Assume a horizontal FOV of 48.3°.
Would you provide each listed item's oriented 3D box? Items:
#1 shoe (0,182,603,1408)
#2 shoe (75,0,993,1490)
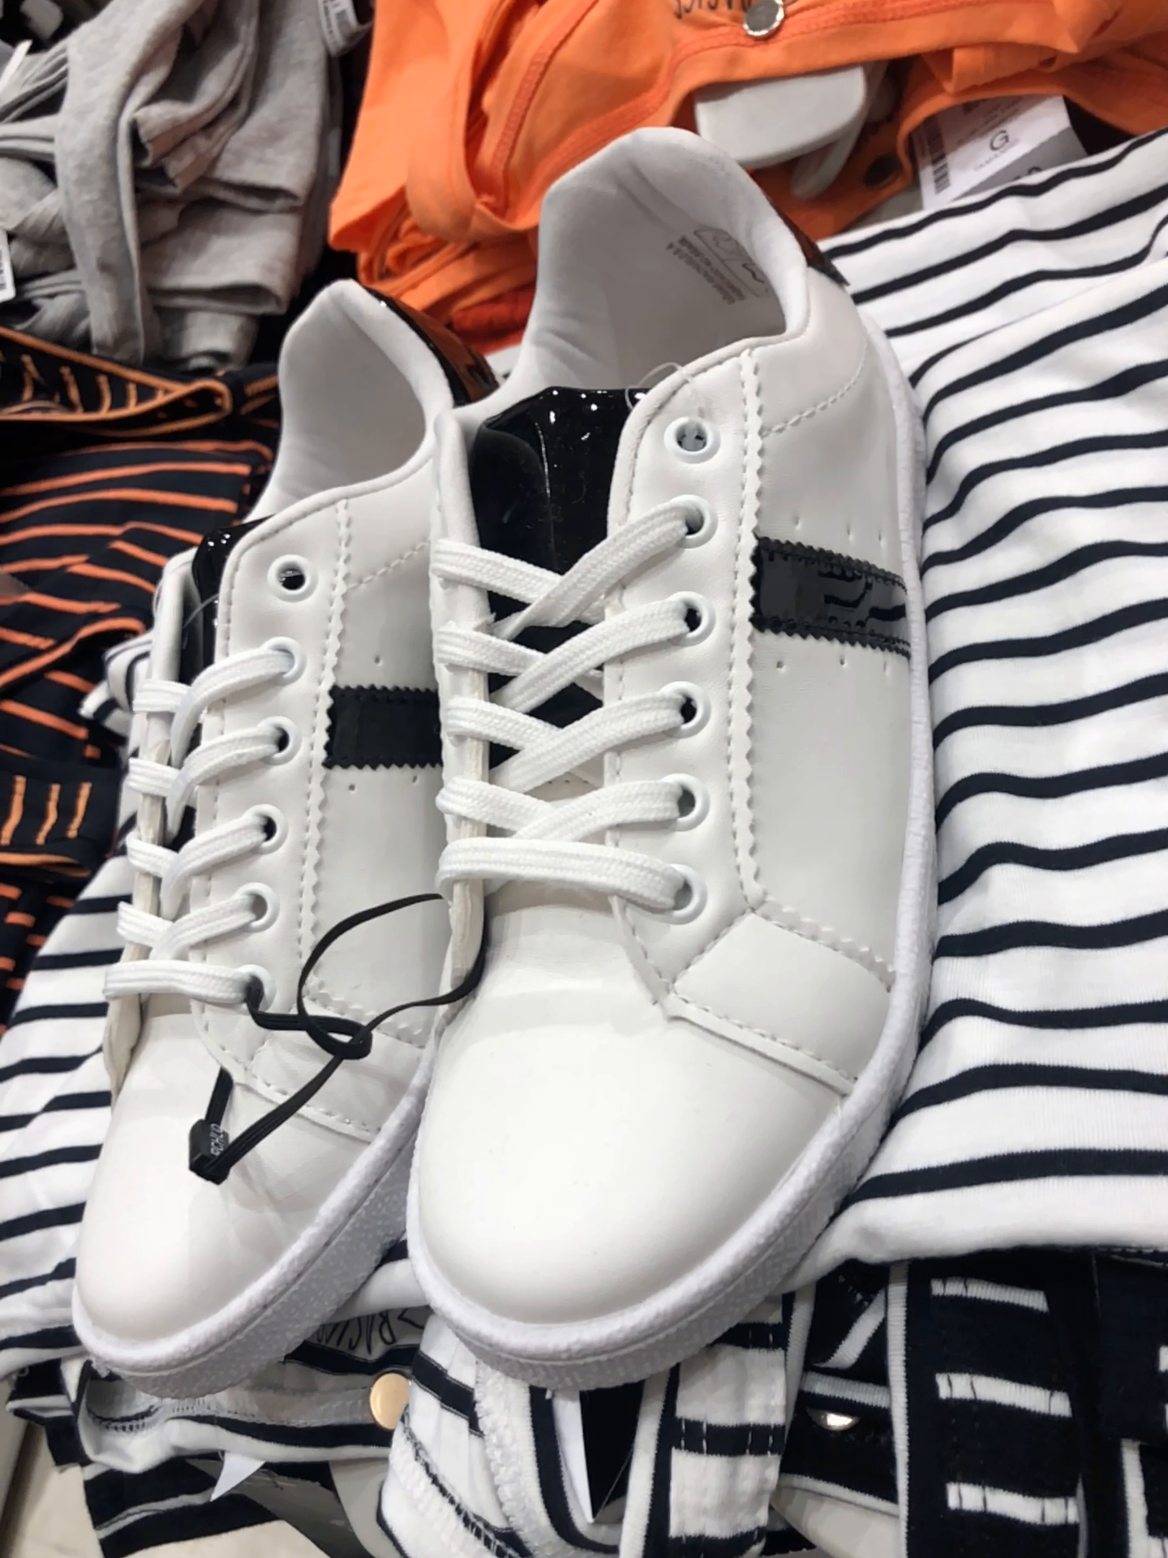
[{"bbox_3d":[-0.068,-0.001,0.258,0.080,0.080,0.210,-4,61,30],"label":"shoe"},{"bbox_3d":[0.011,-0.011,0.215,0.090,0.080,0.210,-6,60,29],"label":"shoe"}]
